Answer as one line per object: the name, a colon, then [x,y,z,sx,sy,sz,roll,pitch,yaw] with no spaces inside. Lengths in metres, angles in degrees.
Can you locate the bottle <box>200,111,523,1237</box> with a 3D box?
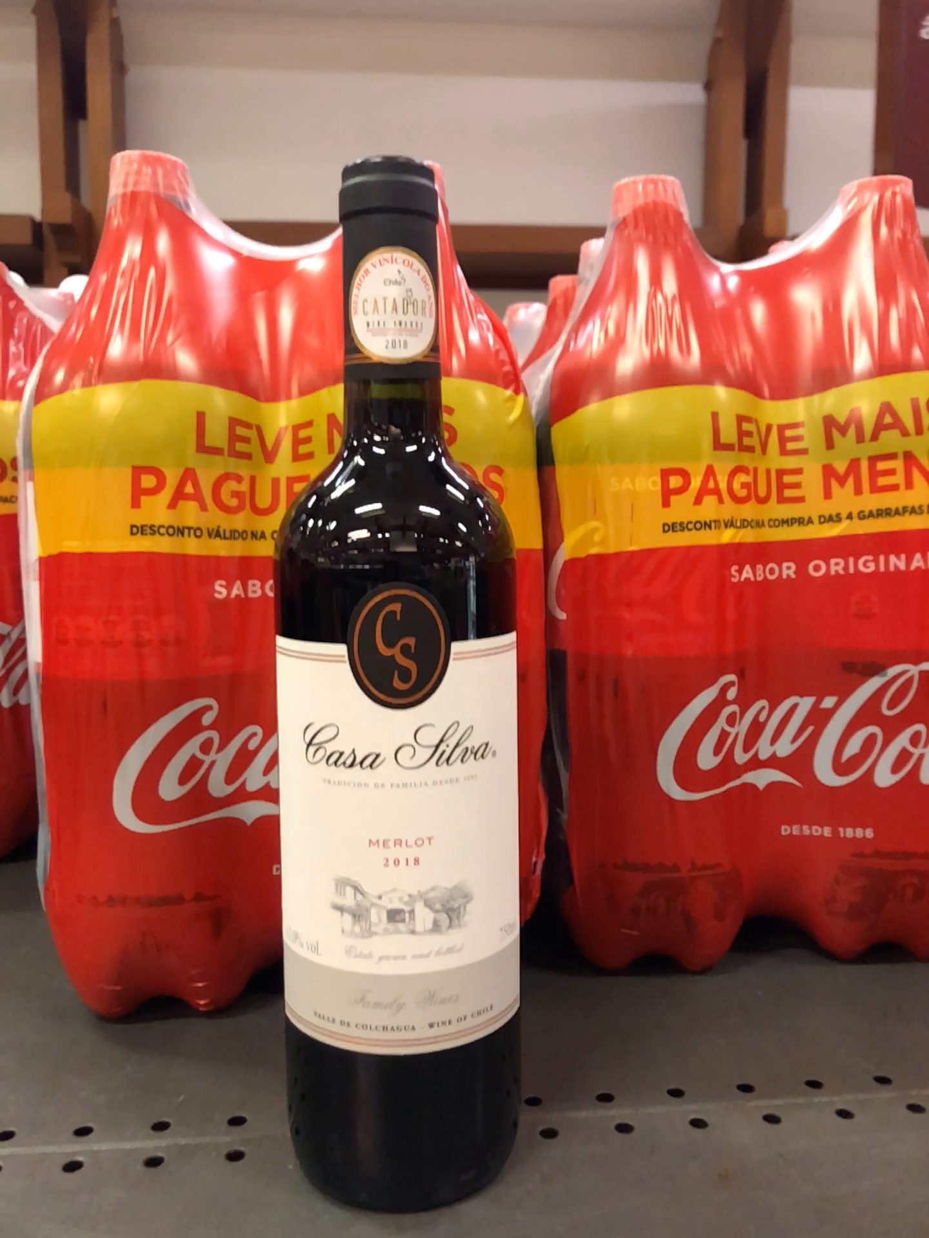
bottle: [-0.028,0.024,0.307,0.080,0.309,0.070,-1,6,-5]
